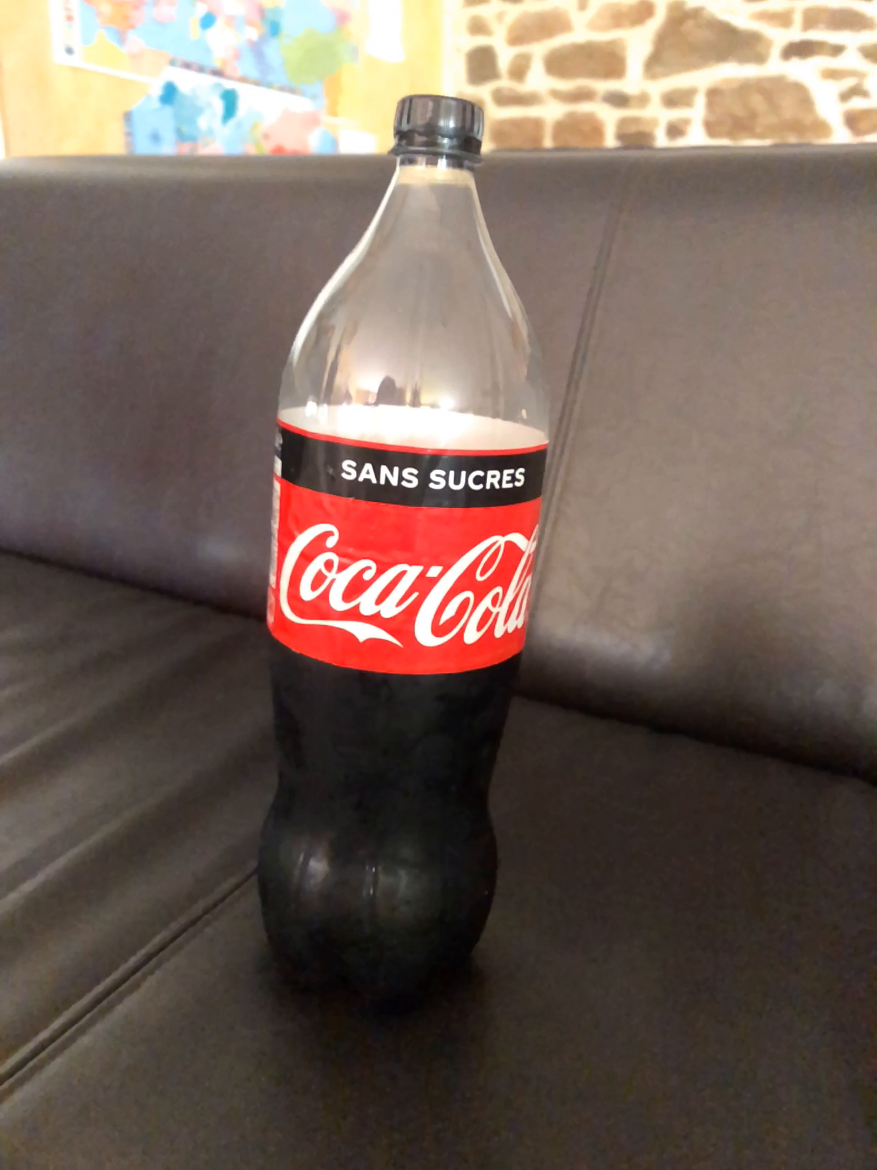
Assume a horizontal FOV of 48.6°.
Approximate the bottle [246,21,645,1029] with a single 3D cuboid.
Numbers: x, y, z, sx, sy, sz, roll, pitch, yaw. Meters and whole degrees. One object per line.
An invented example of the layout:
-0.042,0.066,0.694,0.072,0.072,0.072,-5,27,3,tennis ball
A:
-0.014,-0.010,0.357,0.100,0.319,0.100,4,18,-1,bottle
